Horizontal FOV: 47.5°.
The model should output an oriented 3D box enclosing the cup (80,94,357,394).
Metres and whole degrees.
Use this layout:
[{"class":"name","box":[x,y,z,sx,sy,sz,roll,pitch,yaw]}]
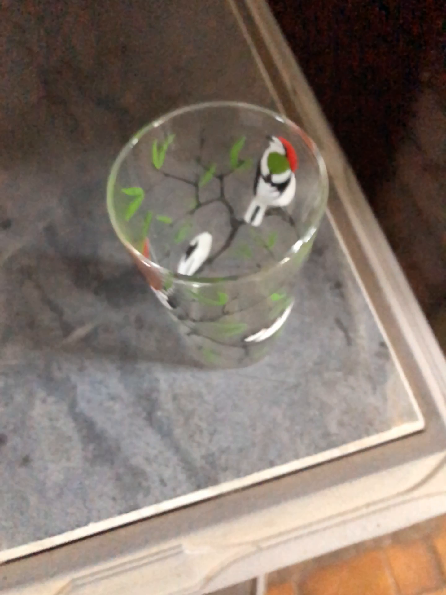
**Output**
[{"class":"cup","box":[0.004,-0.011,0.199,0.070,0.110,0.060,10,67,9]}]
